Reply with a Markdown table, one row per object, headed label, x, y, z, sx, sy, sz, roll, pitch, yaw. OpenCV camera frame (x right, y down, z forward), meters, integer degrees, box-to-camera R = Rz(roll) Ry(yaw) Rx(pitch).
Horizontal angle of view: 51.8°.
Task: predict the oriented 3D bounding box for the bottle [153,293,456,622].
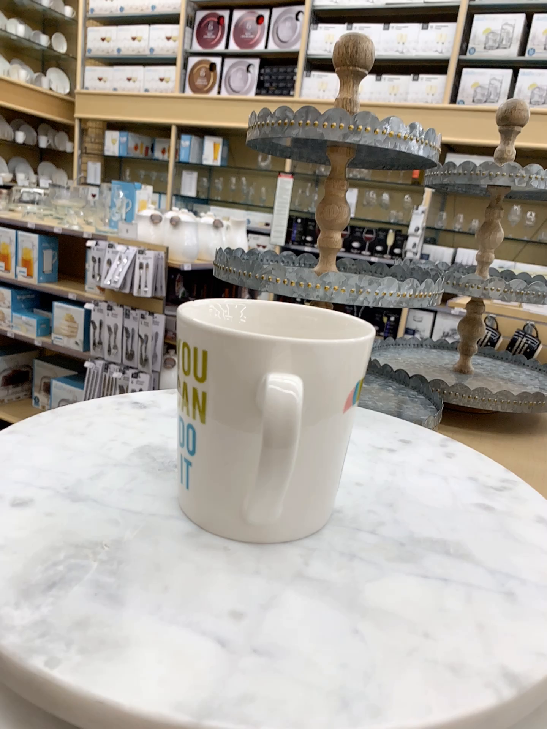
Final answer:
| label | x | y | z | sx | sy | sz | roll | pitch | yaw |
| --- | --- | --- | --- | --- | --- | --- | --- | --- | --- |
| bottle | 0.000 | 0.033 | 0.284 | 0.104 | 0.107 | 0.143 | 5 | 15 | -10 |
